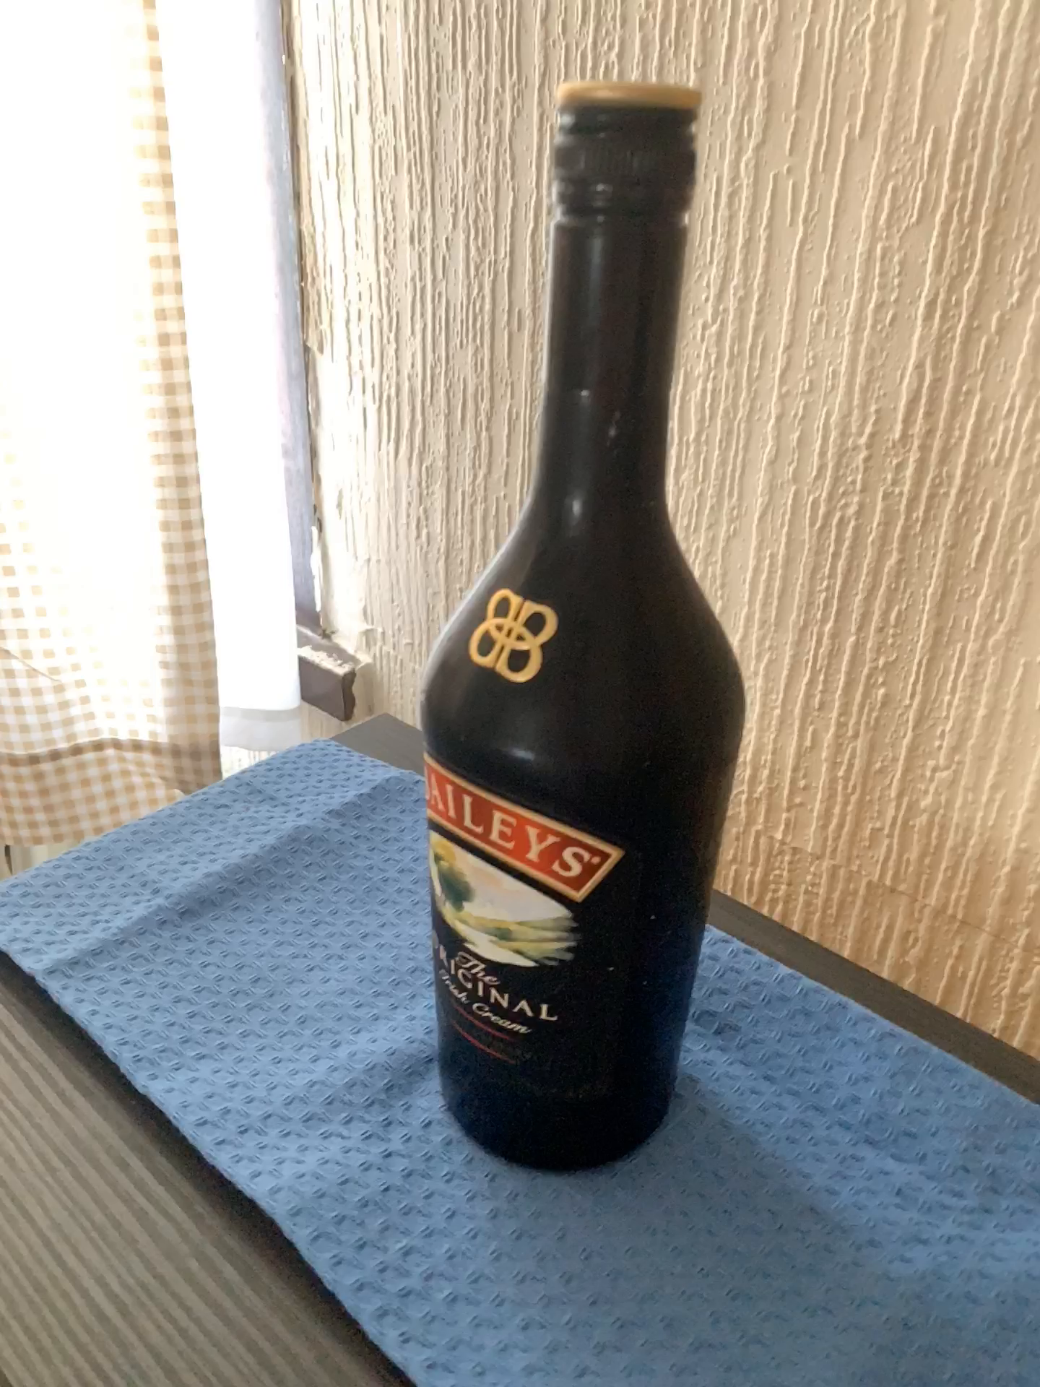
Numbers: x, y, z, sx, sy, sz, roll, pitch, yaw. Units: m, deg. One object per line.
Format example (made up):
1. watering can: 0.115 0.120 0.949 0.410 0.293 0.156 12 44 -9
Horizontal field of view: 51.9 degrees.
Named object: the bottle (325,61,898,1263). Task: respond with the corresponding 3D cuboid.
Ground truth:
1. bottle: 0.014 0.004 0.279 0.090 0.287 0.070 24 35 36
